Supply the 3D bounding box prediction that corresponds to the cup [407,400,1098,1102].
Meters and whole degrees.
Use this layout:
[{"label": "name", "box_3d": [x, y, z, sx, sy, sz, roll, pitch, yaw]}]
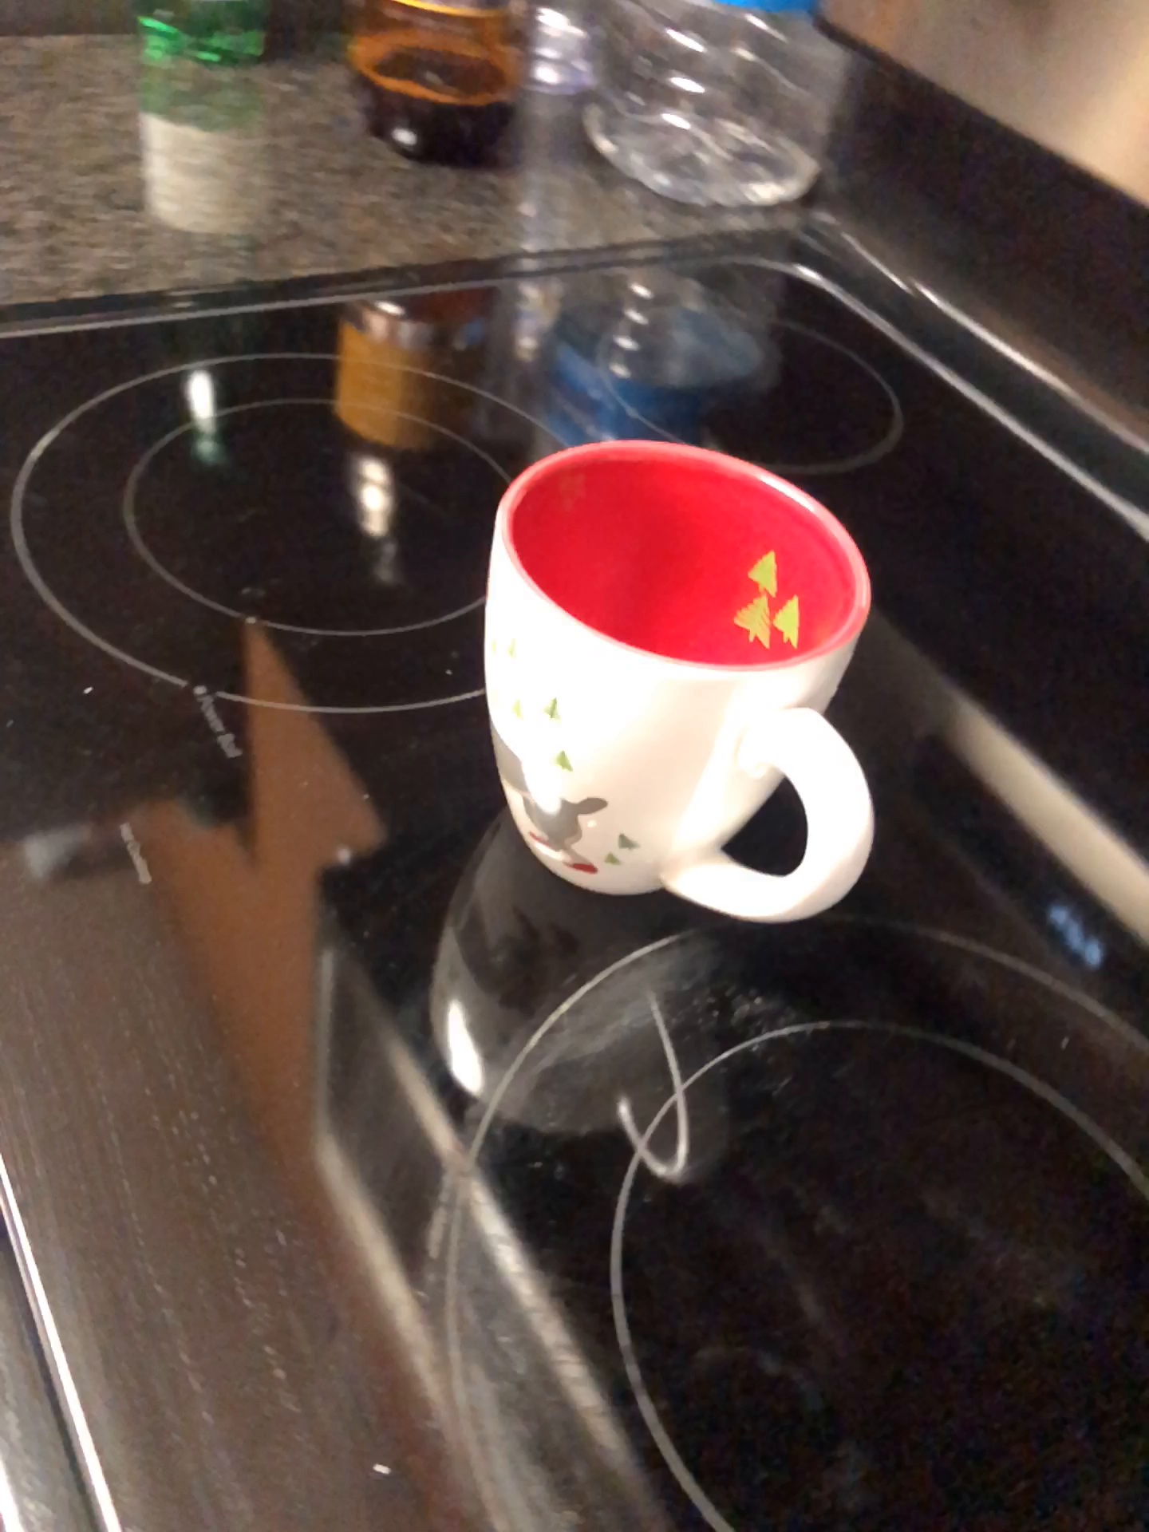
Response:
[{"label": "cup", "box_3d": [0.035, -0.011, 0.346, 0.100, 0.100, 0.140, -18, 52, -28]}]
